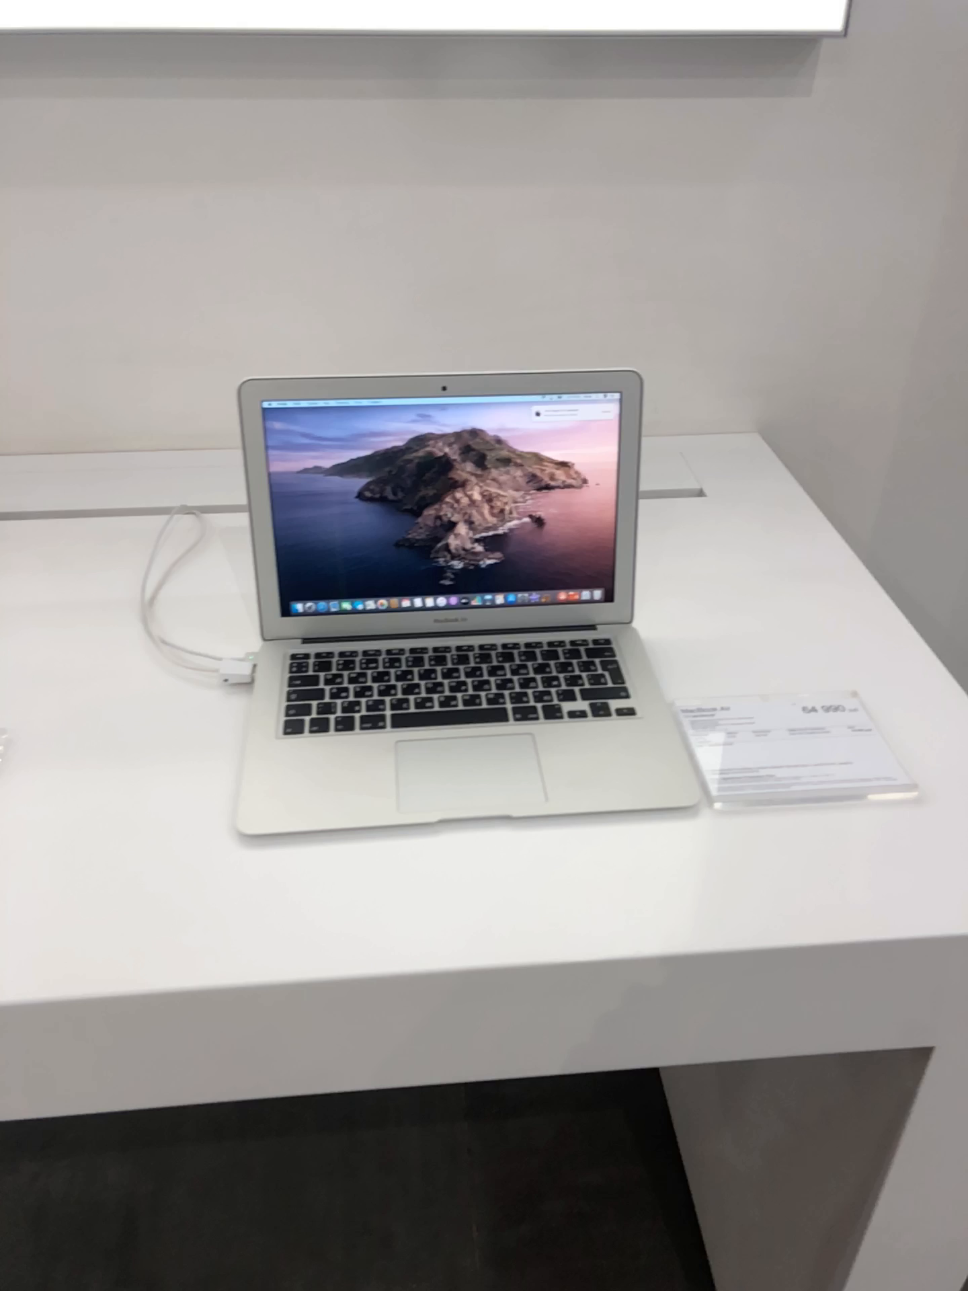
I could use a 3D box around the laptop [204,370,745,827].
[{"bbox_3d":[-0.016,-0.050,0.777,0.315,0.207,0.271,-3,34,-5],"label":"laptop"}]
